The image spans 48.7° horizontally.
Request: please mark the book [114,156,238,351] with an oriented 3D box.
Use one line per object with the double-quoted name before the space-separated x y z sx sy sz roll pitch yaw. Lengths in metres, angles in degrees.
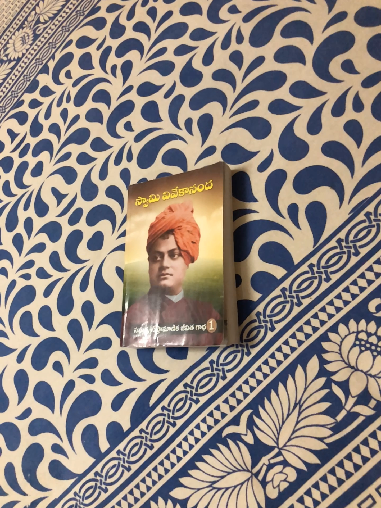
"book" -0.019 0.003 0.492 0.140 0.030 0.210 -8 74 26
